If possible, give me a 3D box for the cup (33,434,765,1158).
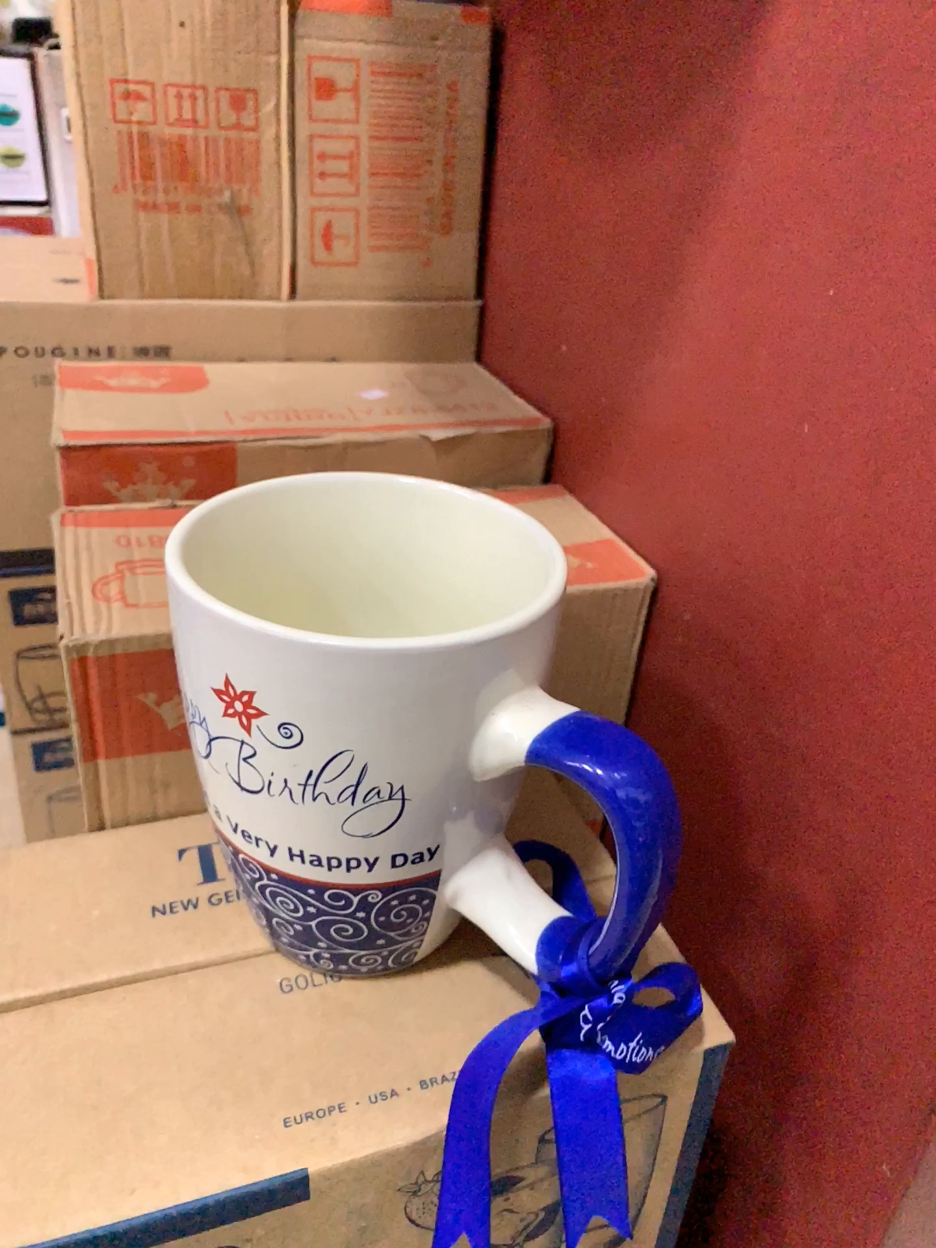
[{"bbox_3d":[-0.020,0.023,0.231,0.131,0.086,0.092,27,36,34],"label":"cup"}]
